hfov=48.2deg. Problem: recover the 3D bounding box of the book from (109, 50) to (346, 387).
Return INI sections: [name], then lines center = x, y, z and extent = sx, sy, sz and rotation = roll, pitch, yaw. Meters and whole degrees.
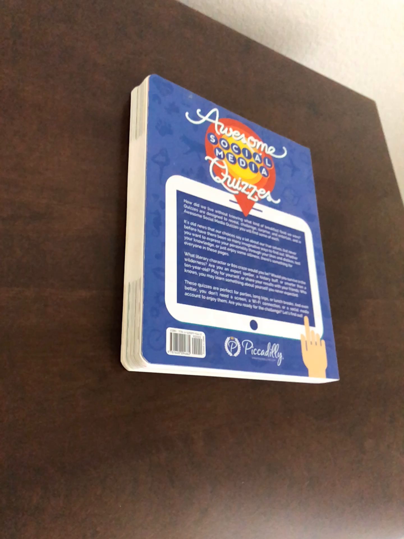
[book]
center = 0.024, -0.028, 0.329
extent = 0.174, 0.030, 0.214
rotation = 13, 66, -34
